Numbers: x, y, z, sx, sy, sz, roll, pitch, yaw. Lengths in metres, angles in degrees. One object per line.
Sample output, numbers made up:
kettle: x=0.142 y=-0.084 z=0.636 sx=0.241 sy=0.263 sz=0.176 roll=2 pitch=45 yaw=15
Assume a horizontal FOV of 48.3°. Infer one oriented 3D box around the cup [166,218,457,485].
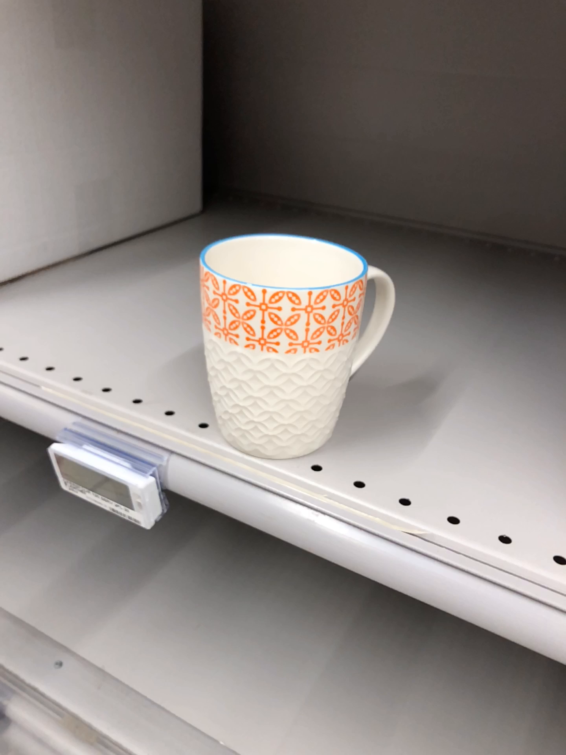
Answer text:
cup: x=0.010 y=-0.022 z=0.342 sx=0.117 sy=0.095 sz=0.091 roll=-13 pitch=33 yaw=-28
